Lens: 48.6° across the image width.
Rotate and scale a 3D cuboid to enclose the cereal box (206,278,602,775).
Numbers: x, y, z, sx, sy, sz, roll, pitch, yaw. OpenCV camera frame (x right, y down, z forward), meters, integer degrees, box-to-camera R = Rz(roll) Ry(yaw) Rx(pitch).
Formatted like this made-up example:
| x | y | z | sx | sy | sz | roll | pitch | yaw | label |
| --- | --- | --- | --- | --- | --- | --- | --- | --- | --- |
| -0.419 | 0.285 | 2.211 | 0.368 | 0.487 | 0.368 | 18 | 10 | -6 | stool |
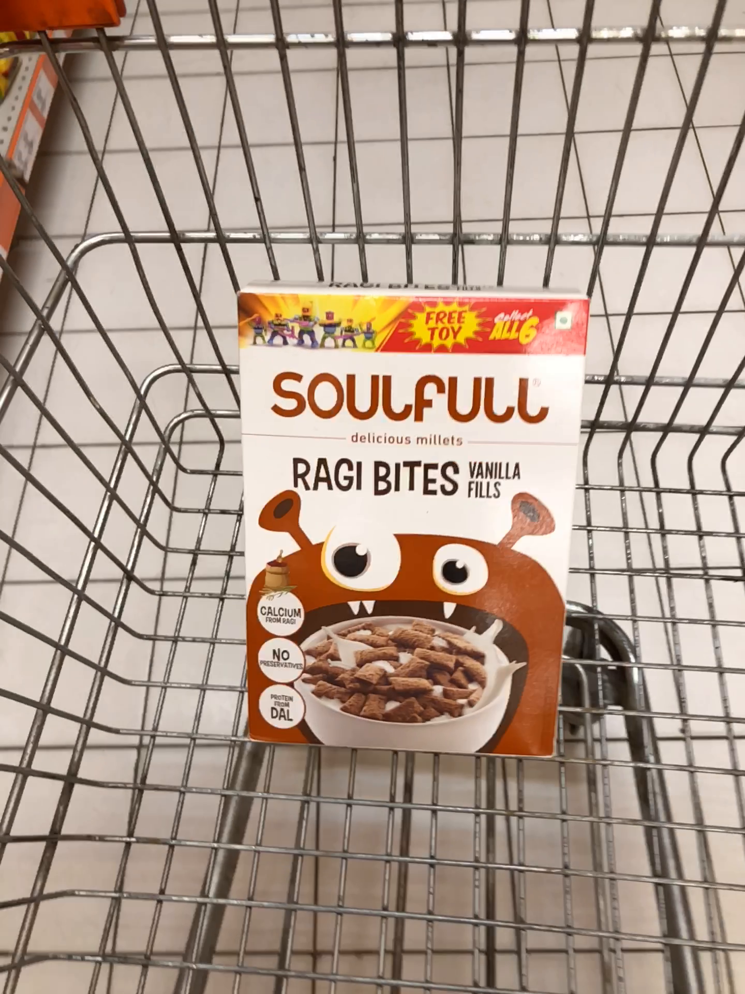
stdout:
| x | y | z | sx | sy | sz | roll | pitch | yaw | label |
| --- | --- | --- | --- | --- | --- | --- | --- | --- | --- |
| 0.012 | 0.015 | 0.444 | 0.180 | 0.249 | 0.070 | 2 | 17 | 3 | cereal box |
